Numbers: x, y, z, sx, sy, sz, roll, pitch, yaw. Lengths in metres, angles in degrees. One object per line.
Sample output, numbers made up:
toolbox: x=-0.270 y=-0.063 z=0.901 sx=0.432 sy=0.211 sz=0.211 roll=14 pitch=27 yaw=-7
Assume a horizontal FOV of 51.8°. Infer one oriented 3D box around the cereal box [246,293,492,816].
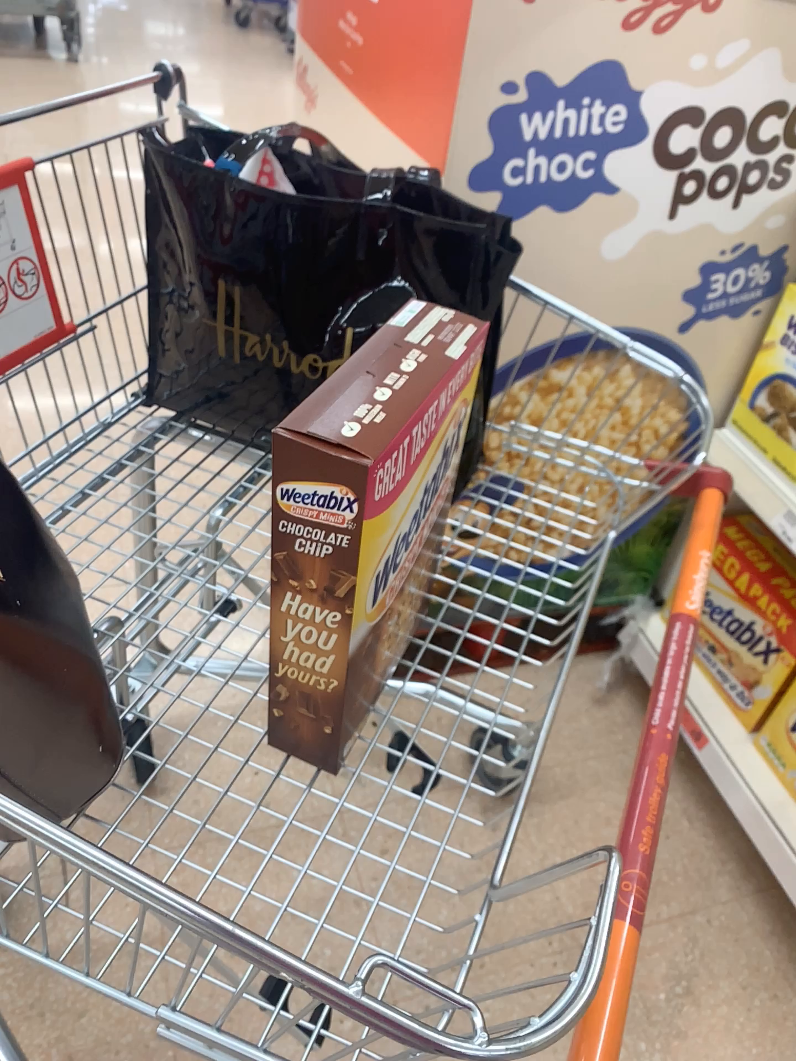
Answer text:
cereal box: x=-0.026 y=0.023 z=0.611 sx=0.070 sy=0.327 sz=0.212 roll=20 pitch=40 yaw=11
